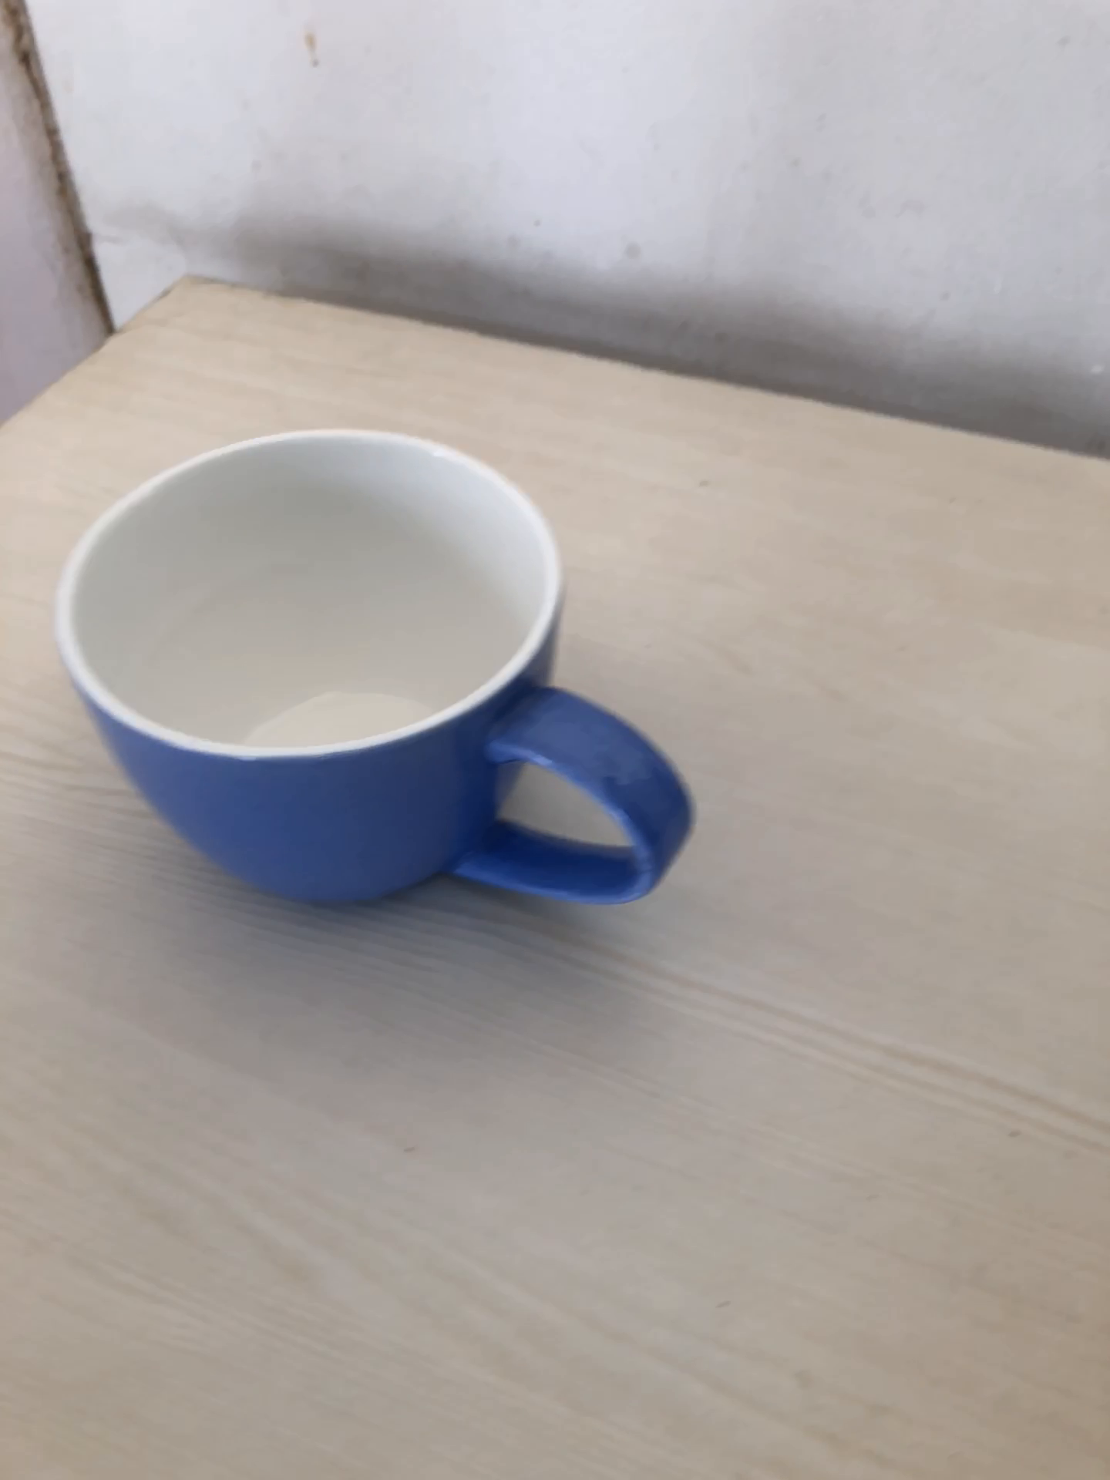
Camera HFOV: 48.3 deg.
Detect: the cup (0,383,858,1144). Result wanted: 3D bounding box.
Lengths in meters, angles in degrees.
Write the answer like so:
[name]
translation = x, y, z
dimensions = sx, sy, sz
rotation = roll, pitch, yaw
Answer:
[cup]
translation = -0.028, -0.005, 0.280
dimensions = 0.150, 0.070, 0.100
rotation = 27, 52, 23
